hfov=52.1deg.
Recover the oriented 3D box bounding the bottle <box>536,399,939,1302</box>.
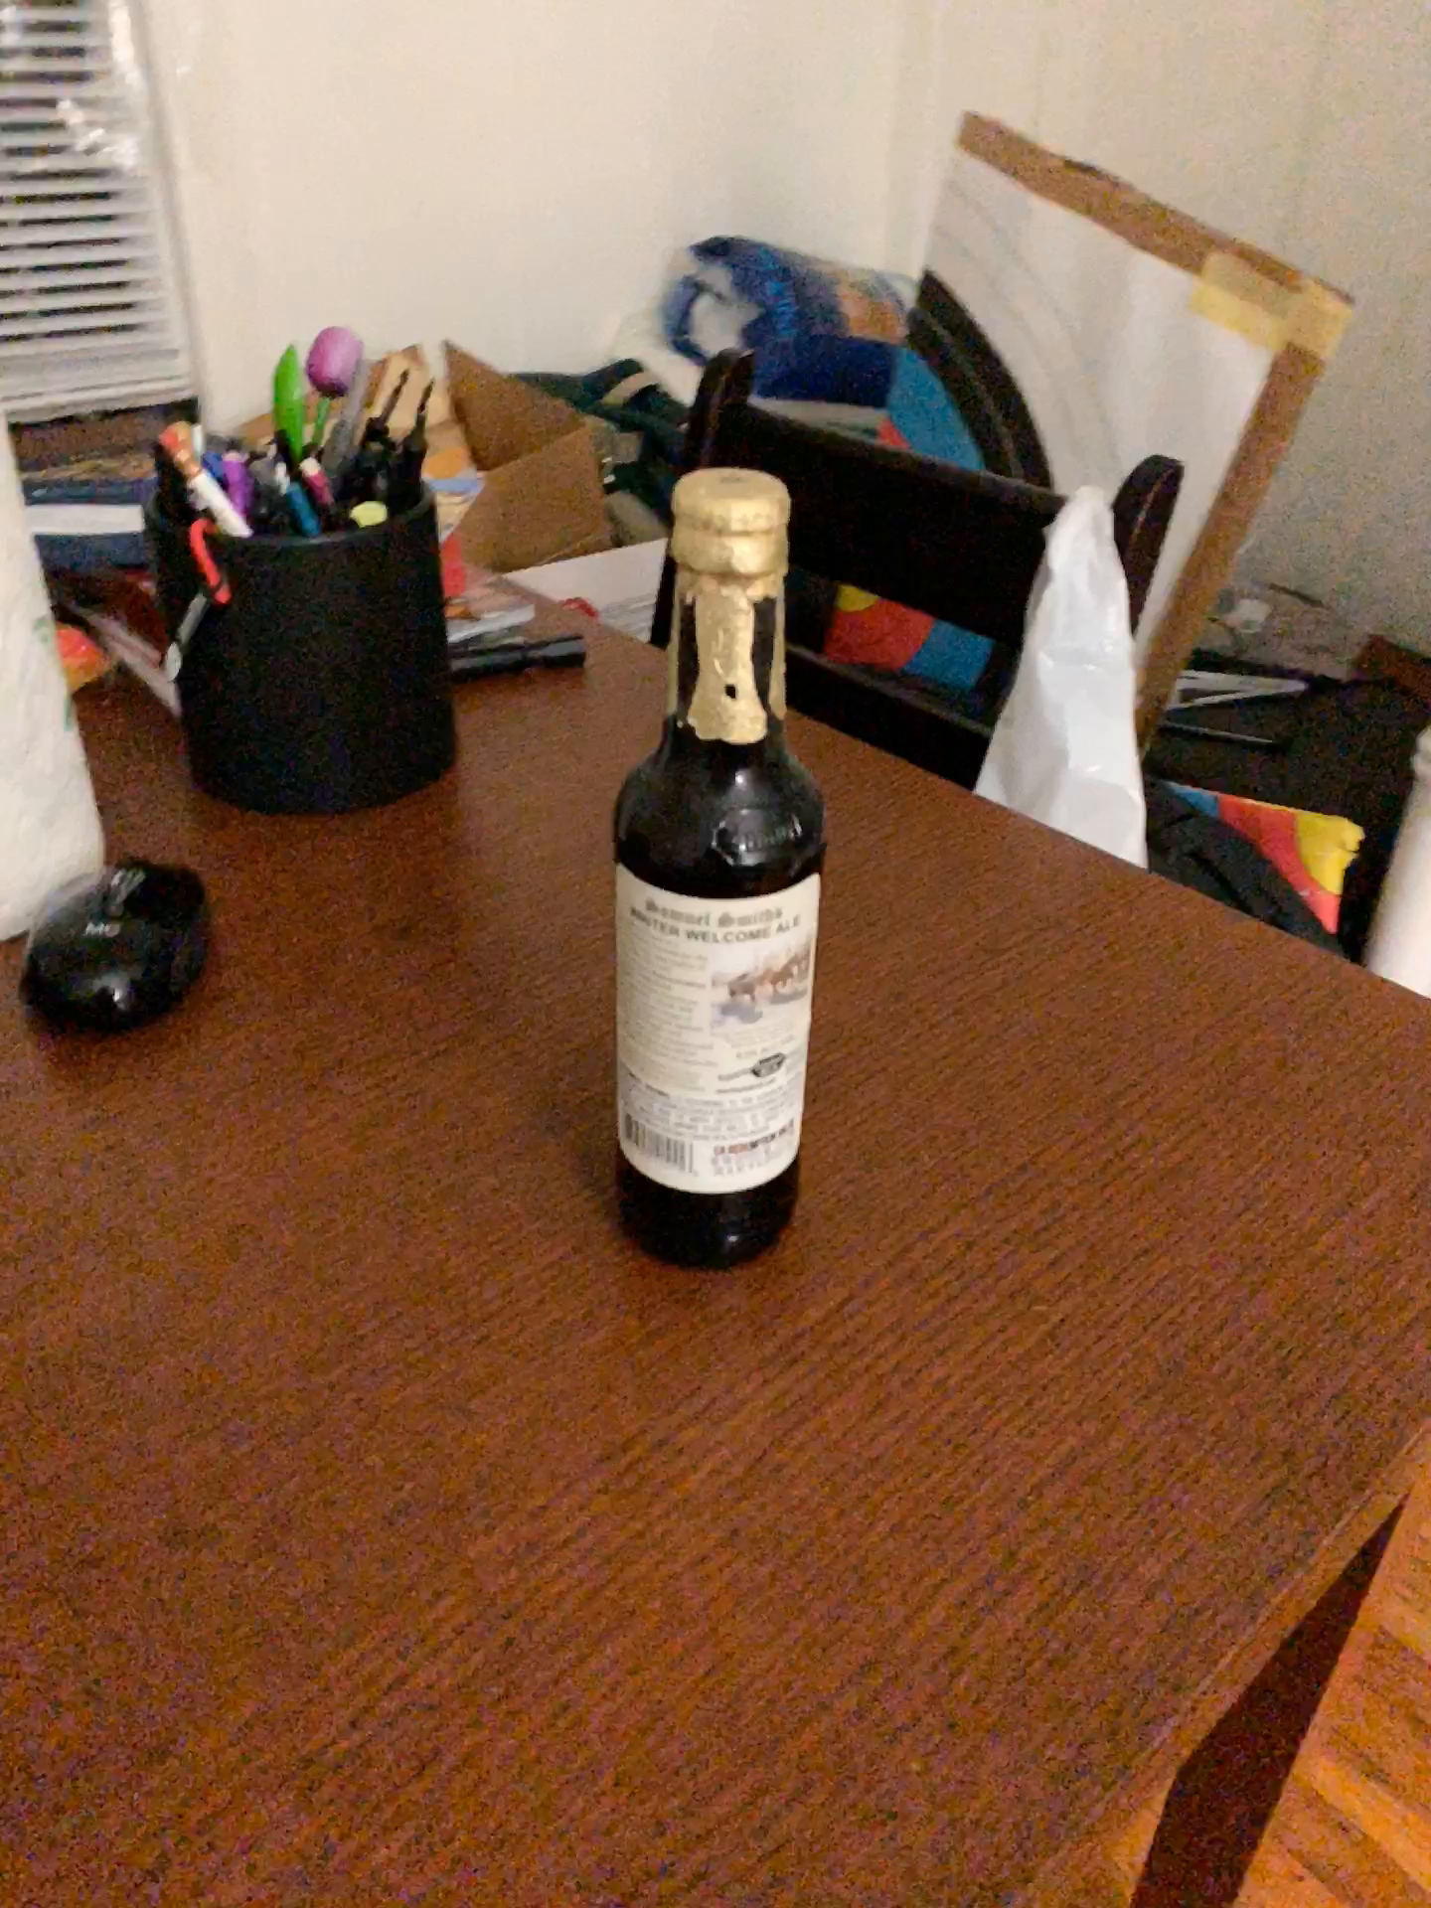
[{"bbox_3d":[0.004,-0.021,0.400,0.070,0.229,0.070,1,33,-1],"label":"bottle"}]
